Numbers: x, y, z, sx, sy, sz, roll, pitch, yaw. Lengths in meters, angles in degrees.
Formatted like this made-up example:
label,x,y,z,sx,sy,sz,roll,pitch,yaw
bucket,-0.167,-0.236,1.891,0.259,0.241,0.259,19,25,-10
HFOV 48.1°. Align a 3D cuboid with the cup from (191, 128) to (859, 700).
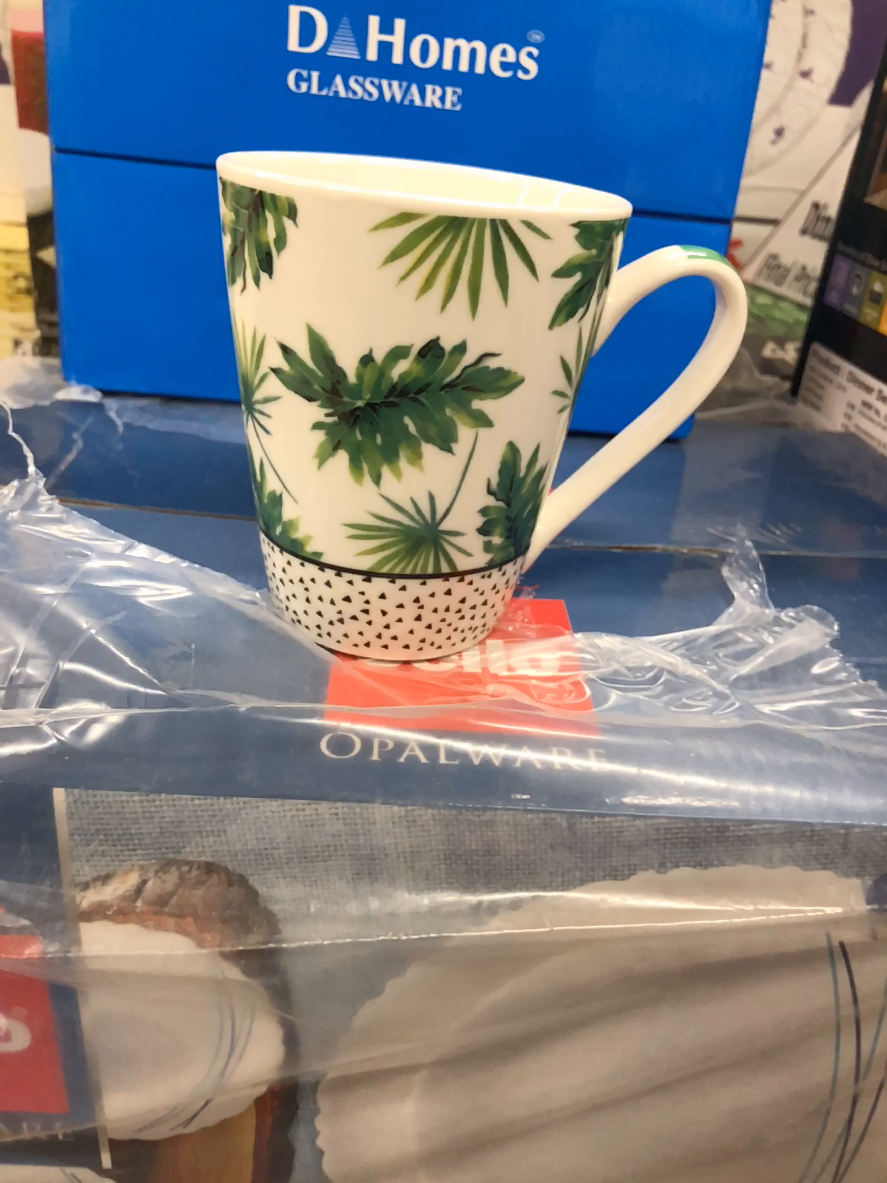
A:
label,x,y,z,sx,sy,sz,roll,pitch,yaw
cup,0.006,-0.043,0.229,0.120,0.099,0.080,-2,30,-14
